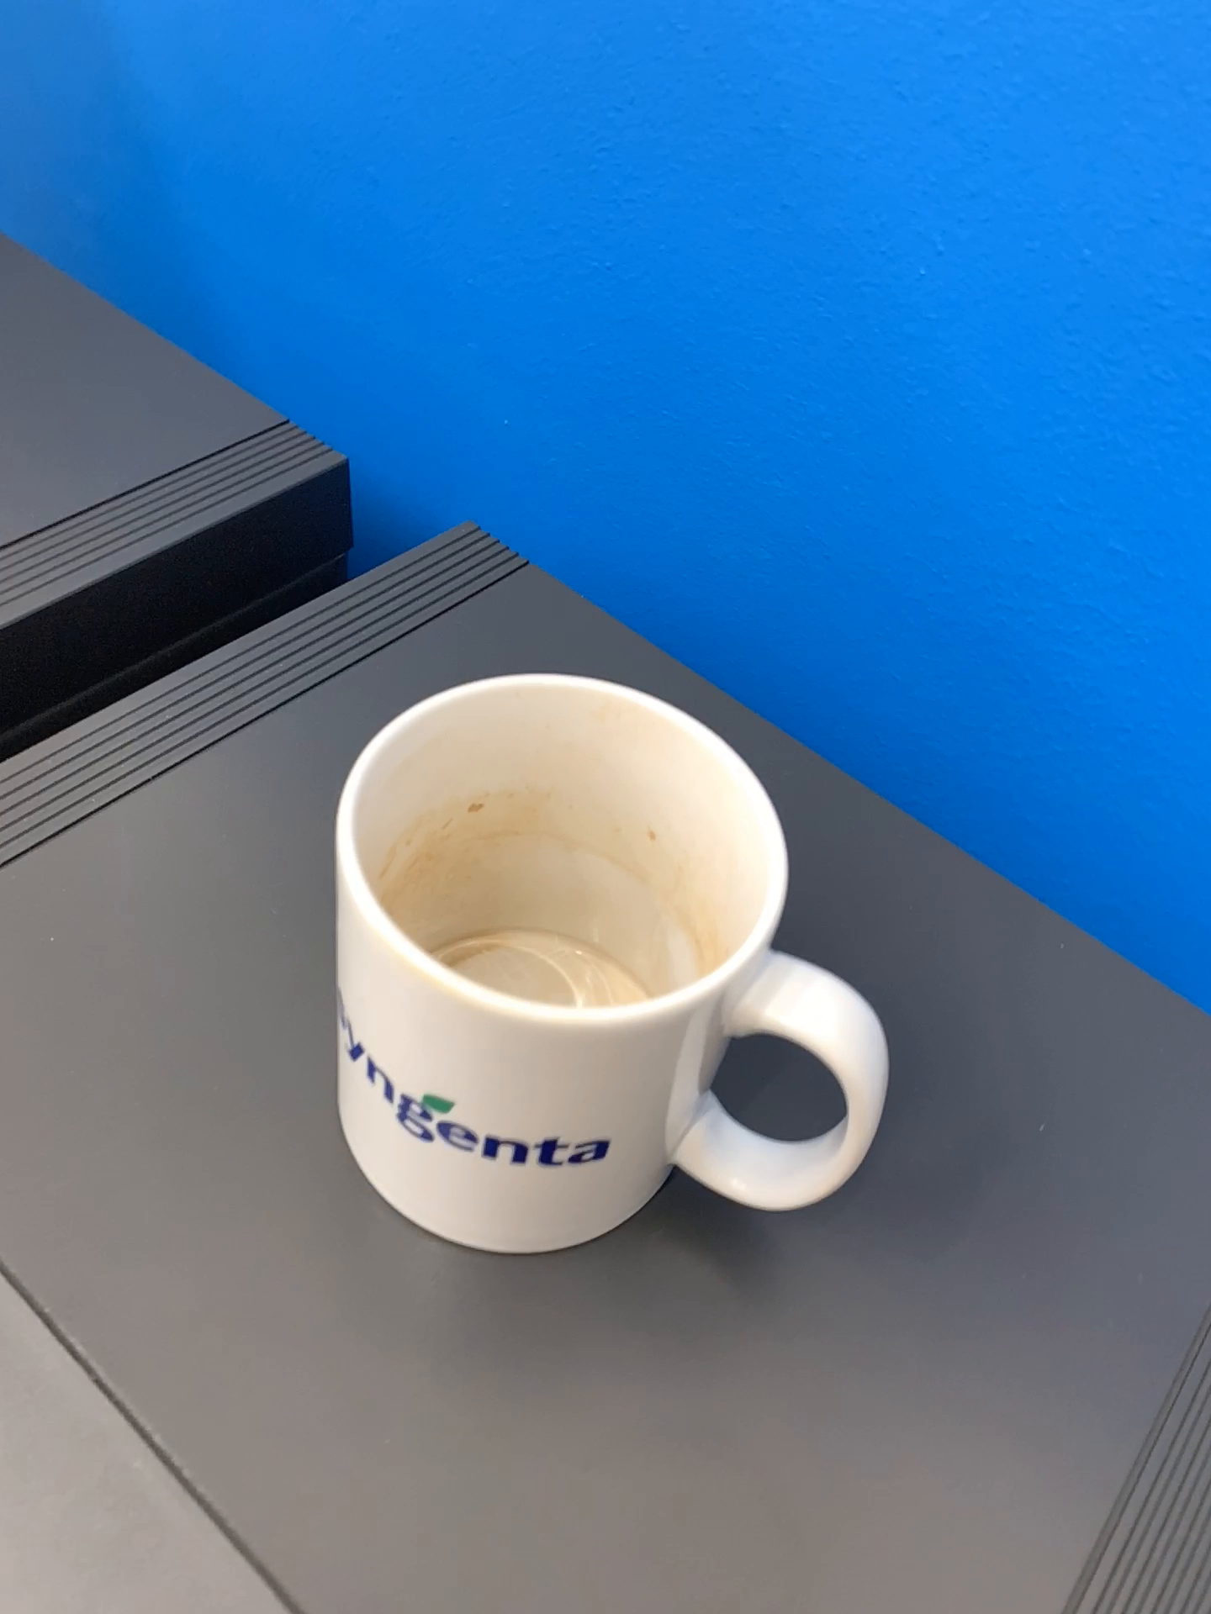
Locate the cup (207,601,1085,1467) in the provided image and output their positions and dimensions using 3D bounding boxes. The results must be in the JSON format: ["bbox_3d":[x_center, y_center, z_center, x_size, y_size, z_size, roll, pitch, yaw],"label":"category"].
[{"bbox_3d":[0.005,0.044,0.254,0.131,0.094,0.089,27,49,12],"label":"cup"}]
